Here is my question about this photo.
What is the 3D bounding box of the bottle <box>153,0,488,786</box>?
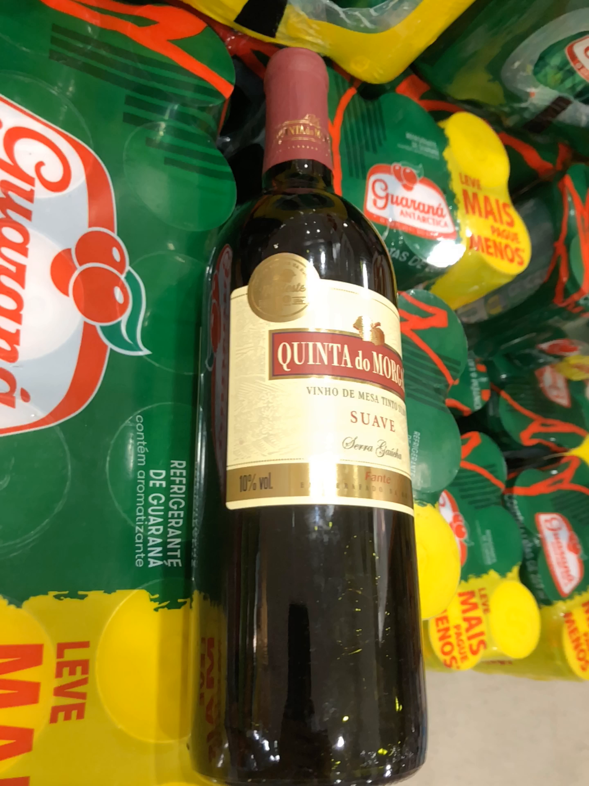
[{"bbox_3d":[0.011,-0.012,0.245,0.080,0.070,0.270,19,65,-47],"label":"bottle"}]
